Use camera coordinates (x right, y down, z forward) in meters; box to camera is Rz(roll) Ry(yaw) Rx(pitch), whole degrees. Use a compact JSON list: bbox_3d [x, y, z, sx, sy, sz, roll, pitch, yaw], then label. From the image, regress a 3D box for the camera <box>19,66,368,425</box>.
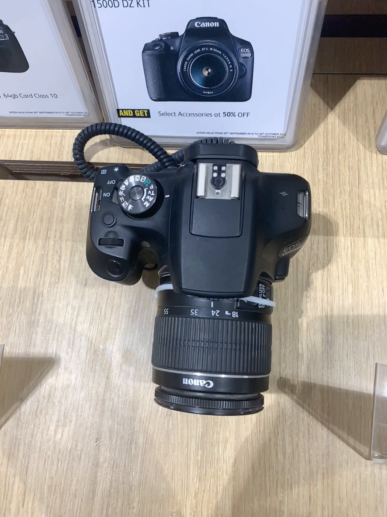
[{"bbox_3d":[0.005,-0.004,0.227,0.140,0.100,0.160,1,76,5],"label":"camera"}]
